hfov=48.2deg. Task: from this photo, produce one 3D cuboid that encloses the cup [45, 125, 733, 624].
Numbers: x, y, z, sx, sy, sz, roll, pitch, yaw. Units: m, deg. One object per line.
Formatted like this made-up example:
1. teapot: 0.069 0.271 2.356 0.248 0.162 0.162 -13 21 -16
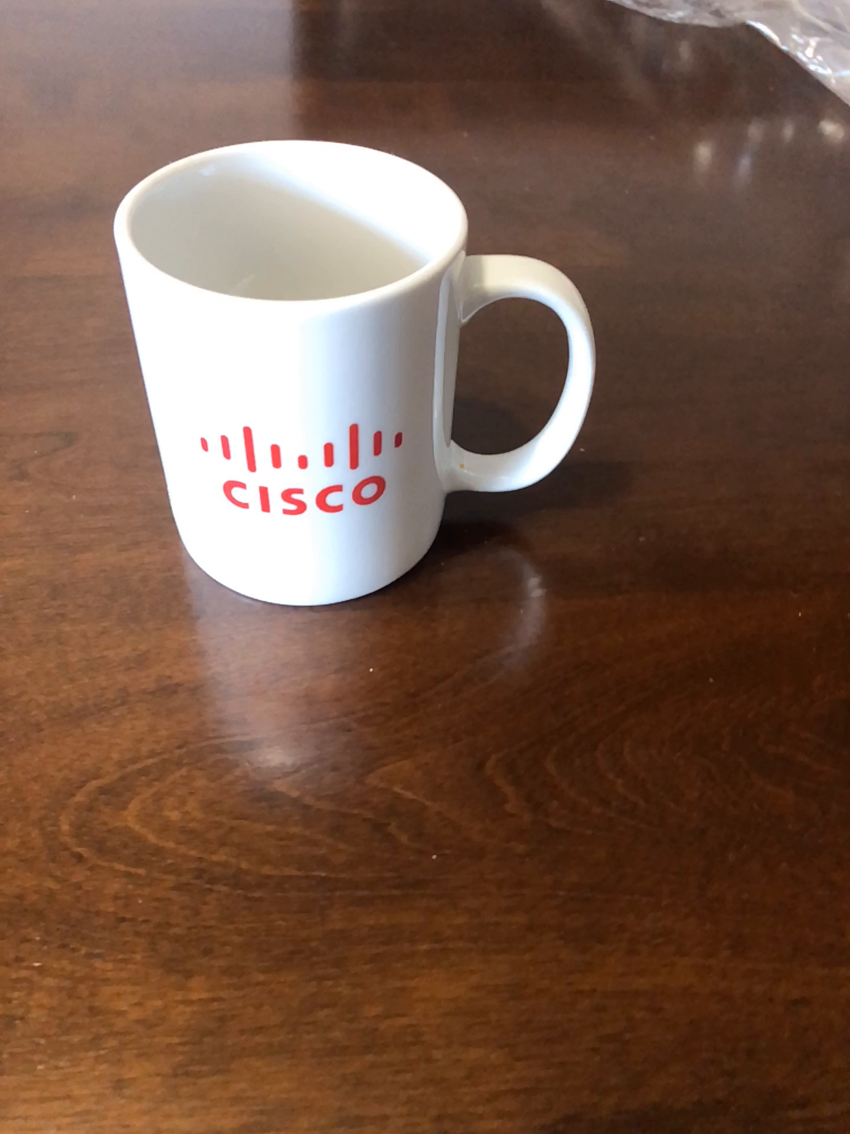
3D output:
1. cup: -0.010 -0.049 0.239 0.130 0.090 0.080 -3 46 -5
